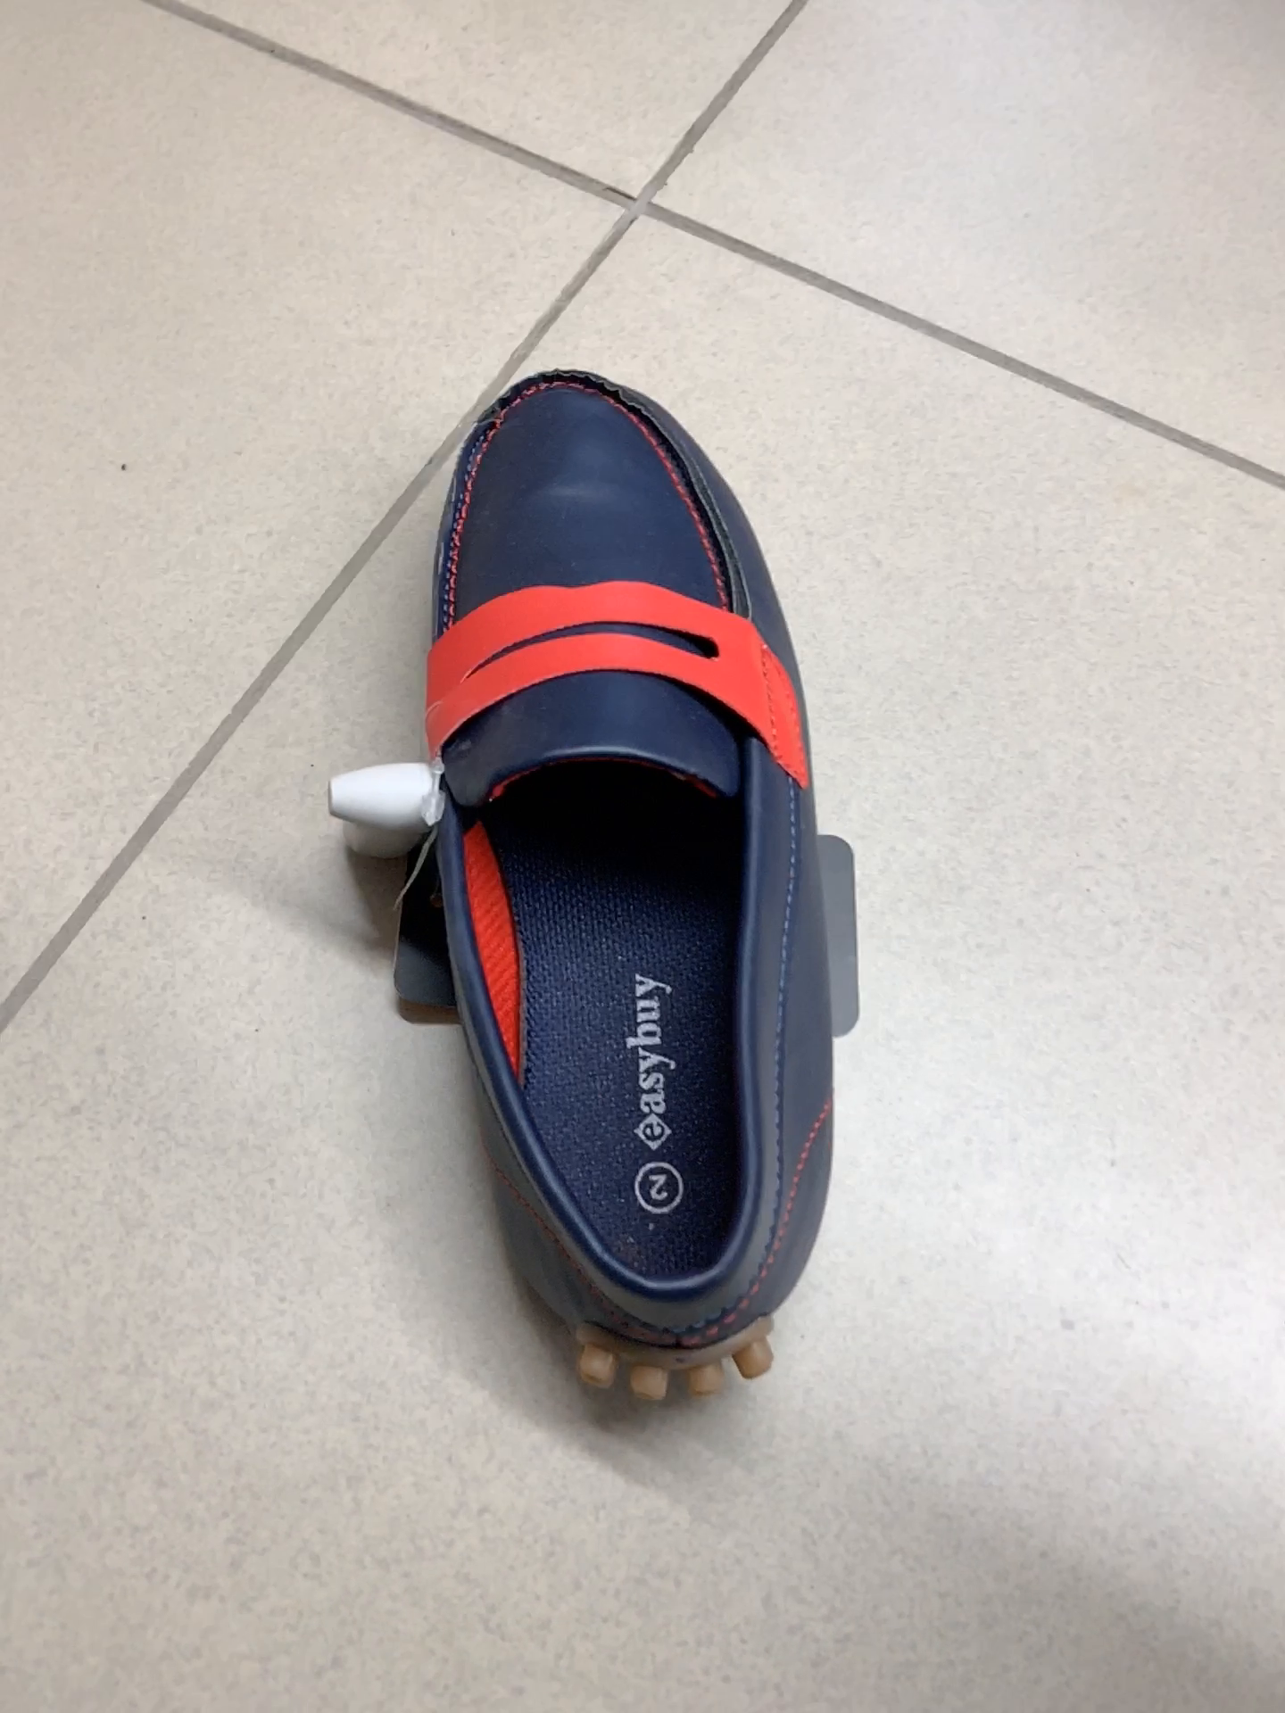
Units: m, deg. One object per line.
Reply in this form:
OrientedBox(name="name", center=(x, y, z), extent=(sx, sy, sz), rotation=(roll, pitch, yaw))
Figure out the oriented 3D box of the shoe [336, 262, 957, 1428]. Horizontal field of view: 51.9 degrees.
OrientedBox(name="shoe", center=(-0.006, -0.011, 0.233), extent=(0.080, 0.050, 0.200), rotation=(-2, 66, -4))
